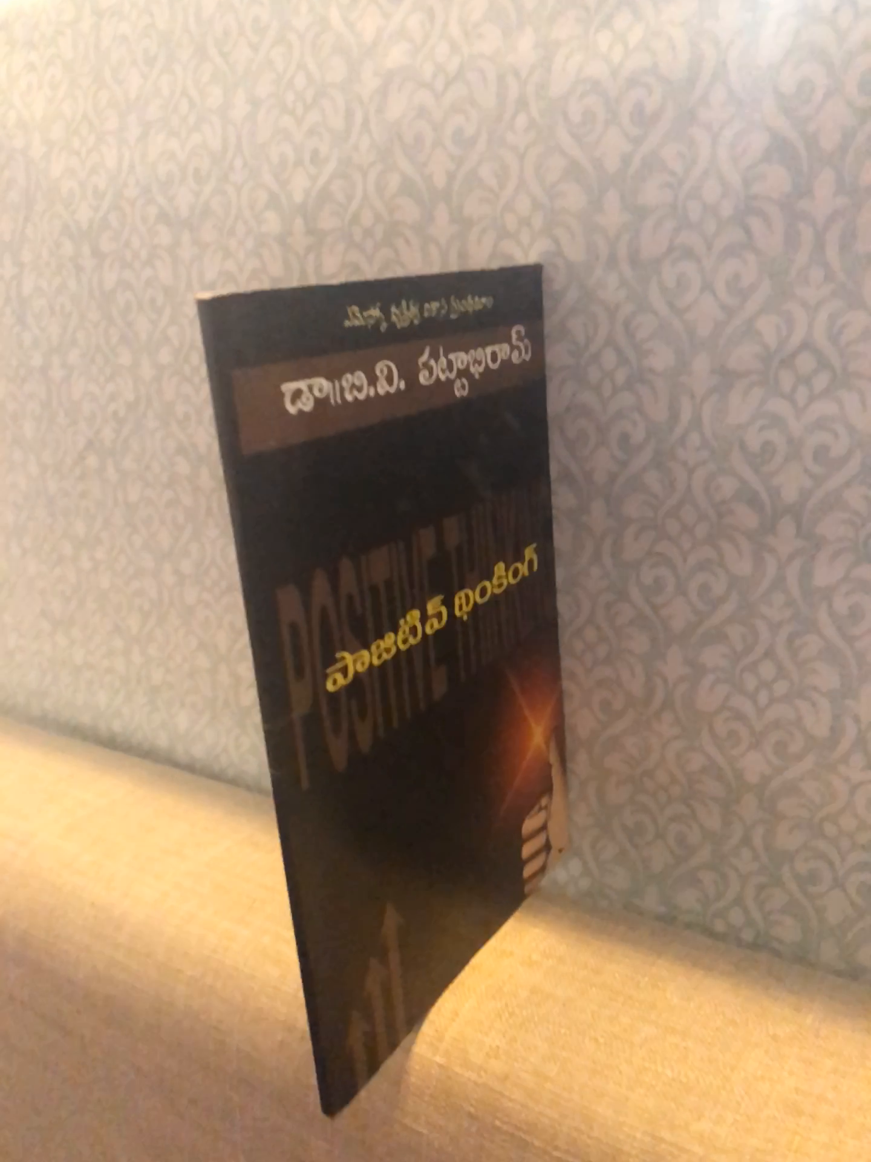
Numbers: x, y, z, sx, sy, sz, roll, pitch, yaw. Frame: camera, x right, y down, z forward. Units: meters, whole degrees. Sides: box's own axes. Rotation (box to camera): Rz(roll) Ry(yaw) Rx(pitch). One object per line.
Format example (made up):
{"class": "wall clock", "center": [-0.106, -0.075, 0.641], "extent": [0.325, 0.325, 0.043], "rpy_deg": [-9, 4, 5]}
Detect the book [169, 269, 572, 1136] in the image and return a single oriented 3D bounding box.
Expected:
{"class": "book", "center": [-0.001, 0.016, 0.238], "extent": [0.011, 0.175, 0.127], "rpy_deg": [5, 18, 32]}
